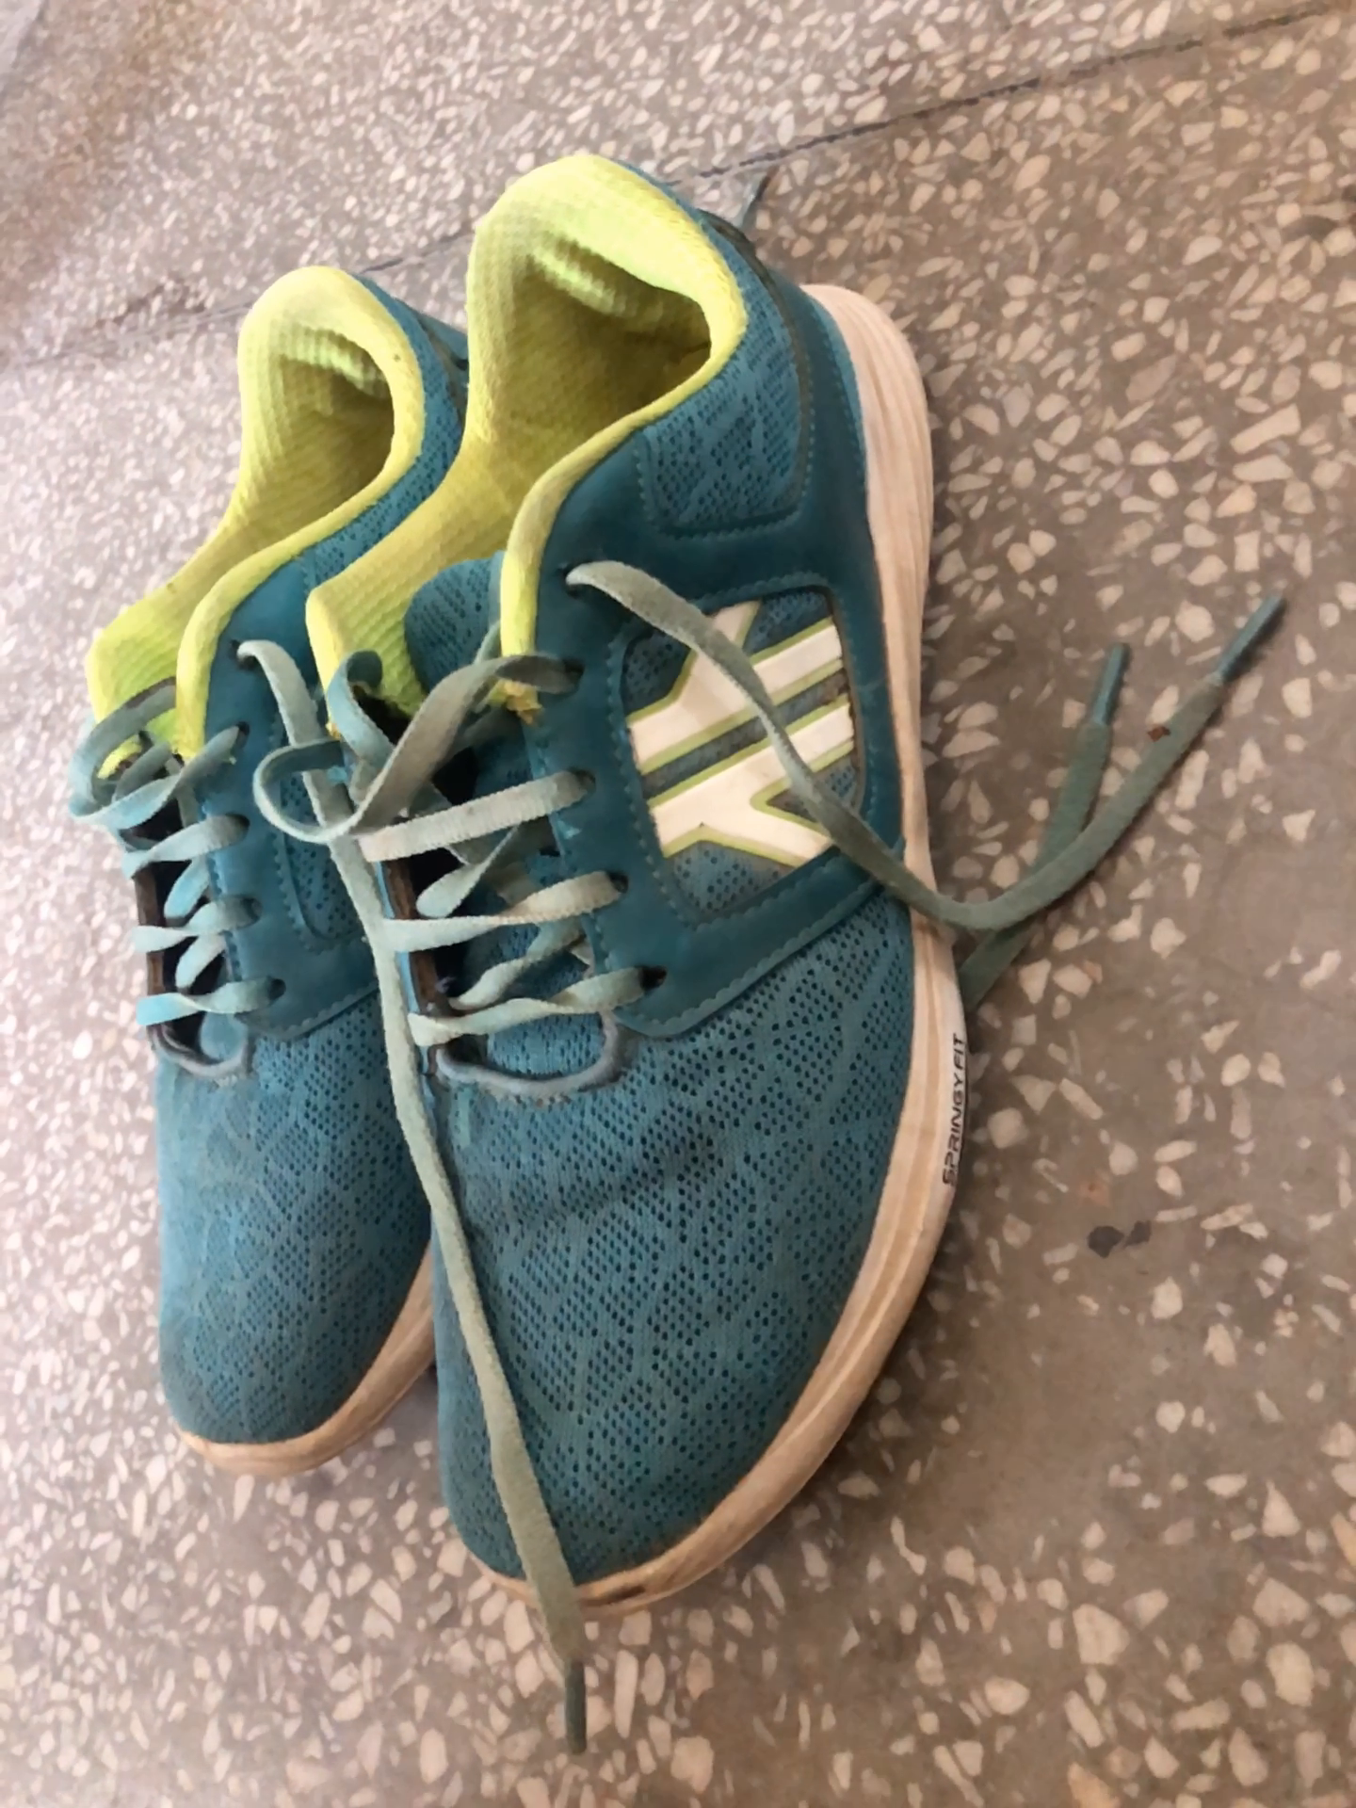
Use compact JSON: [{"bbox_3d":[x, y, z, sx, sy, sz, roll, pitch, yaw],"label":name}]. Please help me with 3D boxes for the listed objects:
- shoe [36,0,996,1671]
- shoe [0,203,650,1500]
[{"bbox_3d":[-0.014,-0.009,0.252,0.095,0.088,0.229,-10,65,38],"label":"shoe"},{"bbox_3d":[-0.085,-0.007,0.316,0.091,0.091,0.230,-7,67,39],"label":"shoe"}]
